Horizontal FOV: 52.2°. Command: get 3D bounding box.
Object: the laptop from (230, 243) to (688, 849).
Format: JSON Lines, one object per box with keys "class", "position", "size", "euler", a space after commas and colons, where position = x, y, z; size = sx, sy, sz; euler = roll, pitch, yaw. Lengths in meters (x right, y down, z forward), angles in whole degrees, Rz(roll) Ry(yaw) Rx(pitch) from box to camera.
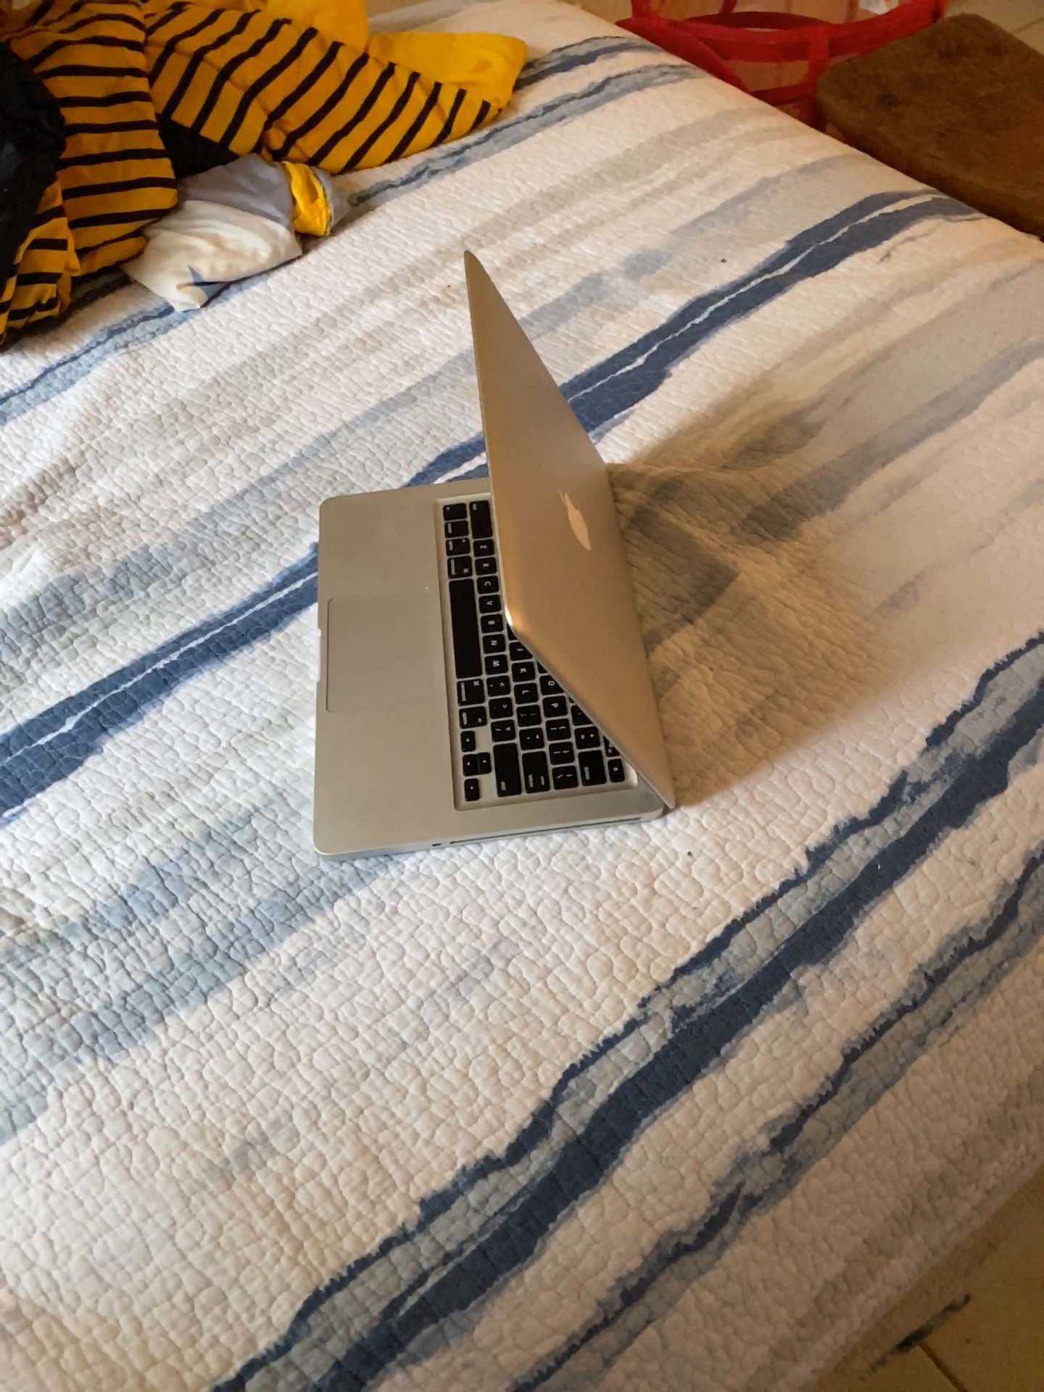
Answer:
{"class": "laptop", "position": [-0.041, -0.099, 0.678], "size": [0.220, 0.191, 0.316], "euler": [-7, 54, 1]}
